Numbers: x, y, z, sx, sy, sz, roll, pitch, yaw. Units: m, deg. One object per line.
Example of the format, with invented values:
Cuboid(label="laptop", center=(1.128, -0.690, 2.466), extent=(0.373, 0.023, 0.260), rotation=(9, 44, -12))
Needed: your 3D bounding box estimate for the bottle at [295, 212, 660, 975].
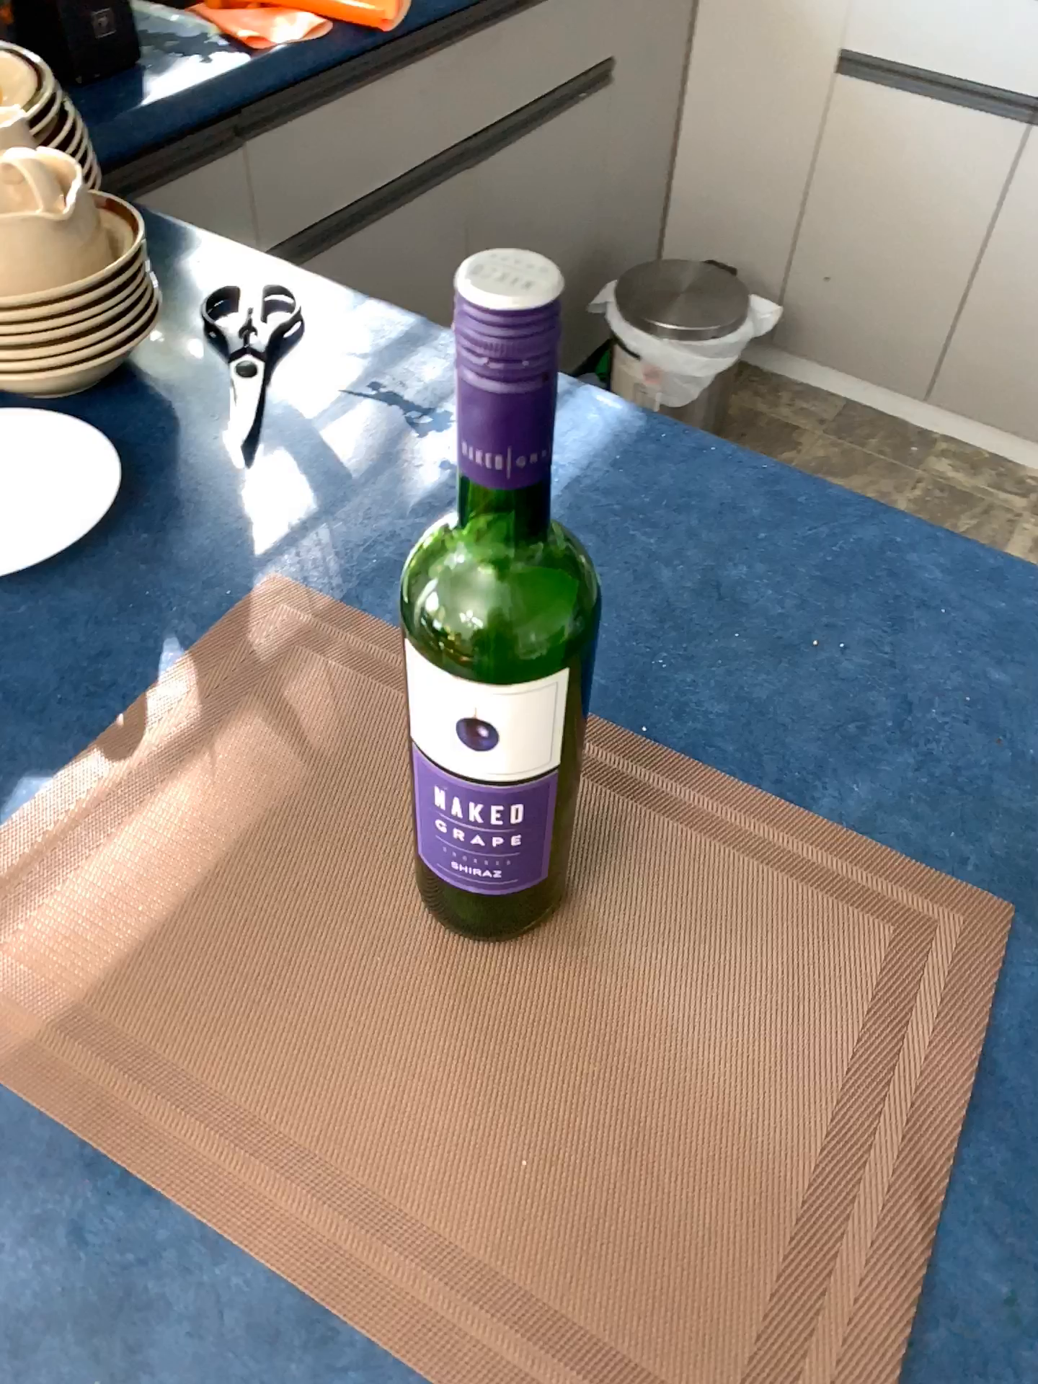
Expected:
Cuboid(label="bottle", center=(-0.012, -0.008, 0.383), extent=(0.080, 0.288, 0.081), rotation=(1, 49, -2))
